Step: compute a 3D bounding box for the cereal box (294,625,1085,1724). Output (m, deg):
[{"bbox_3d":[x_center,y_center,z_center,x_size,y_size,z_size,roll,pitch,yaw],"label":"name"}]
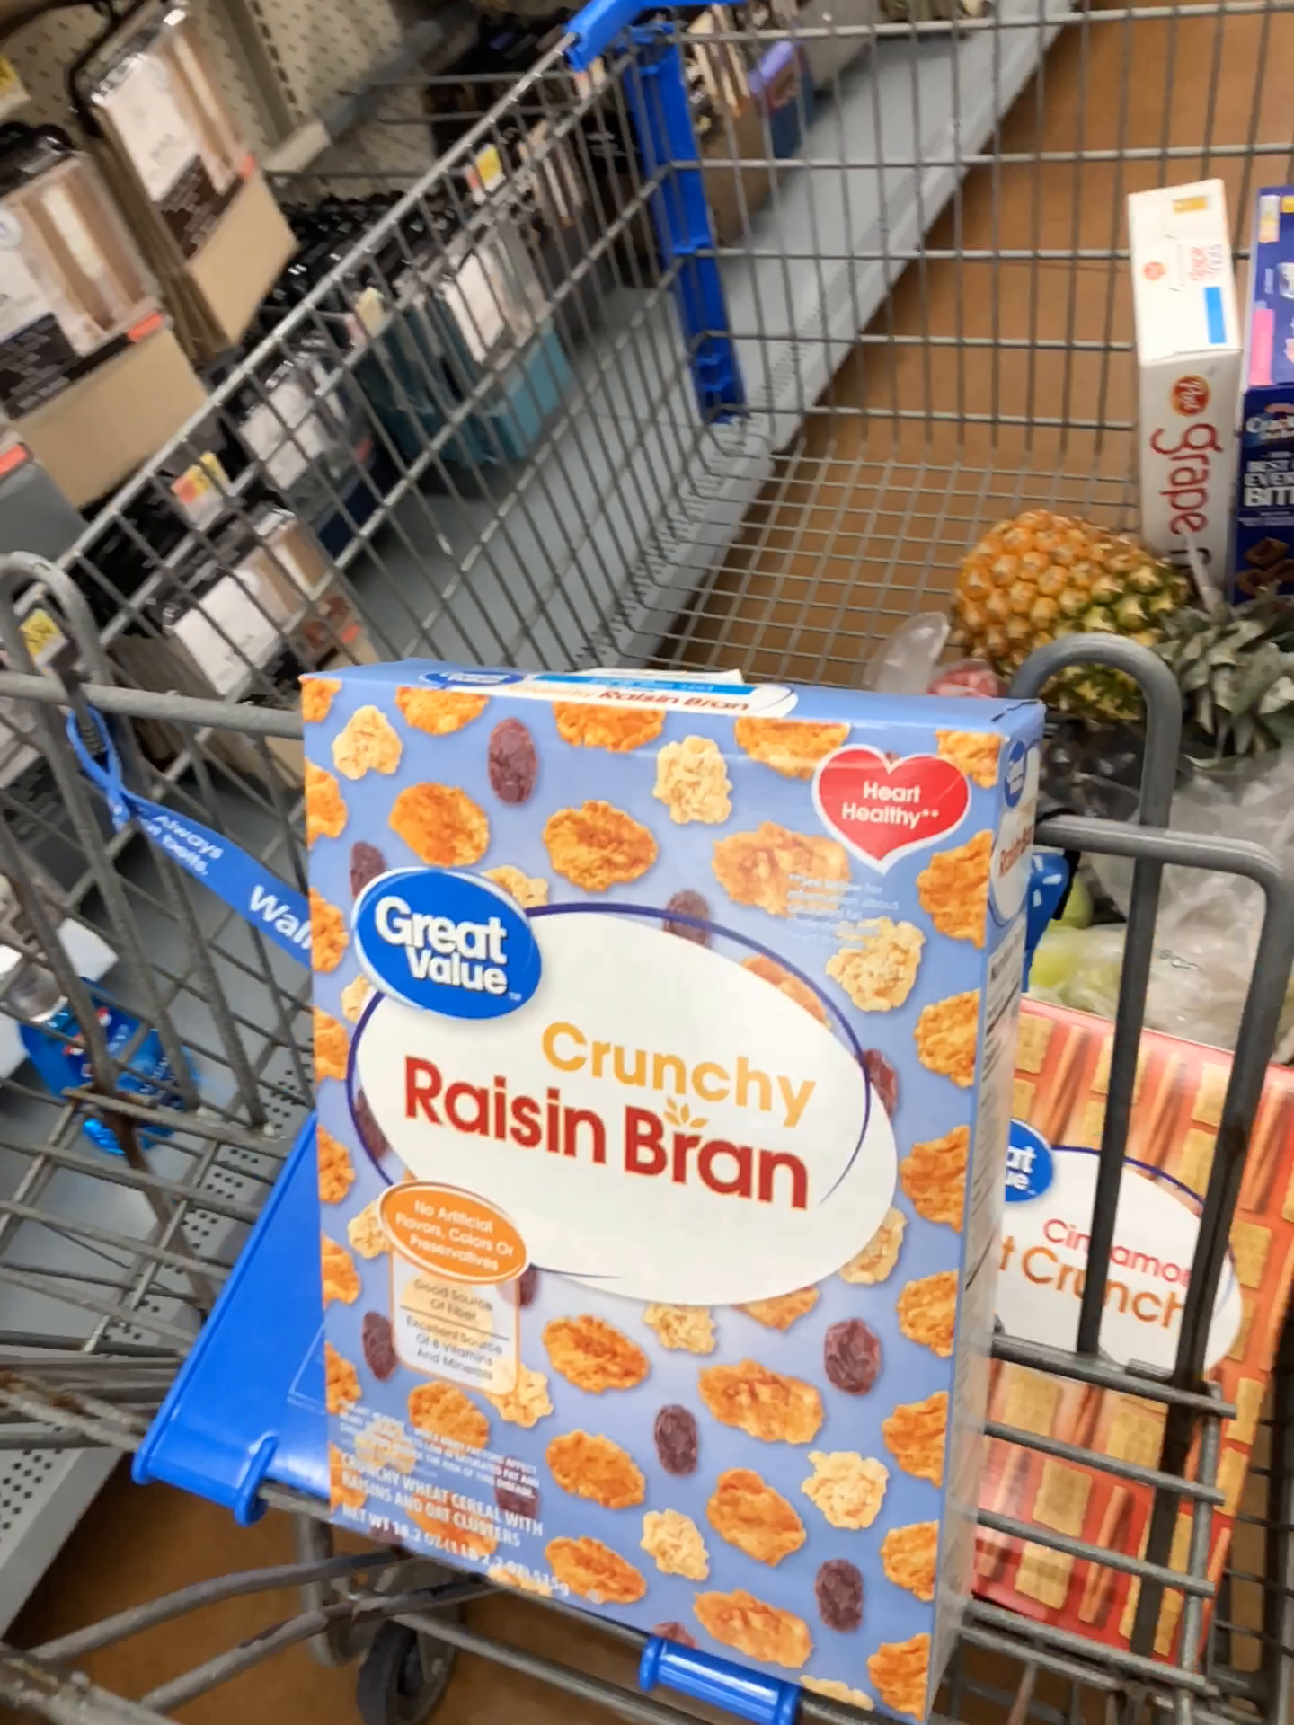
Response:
[{"bbox_3d":[0.005,0.080,0.413,0.200,0.280,0.070,7,14,21],"label":"cereal box"}]
